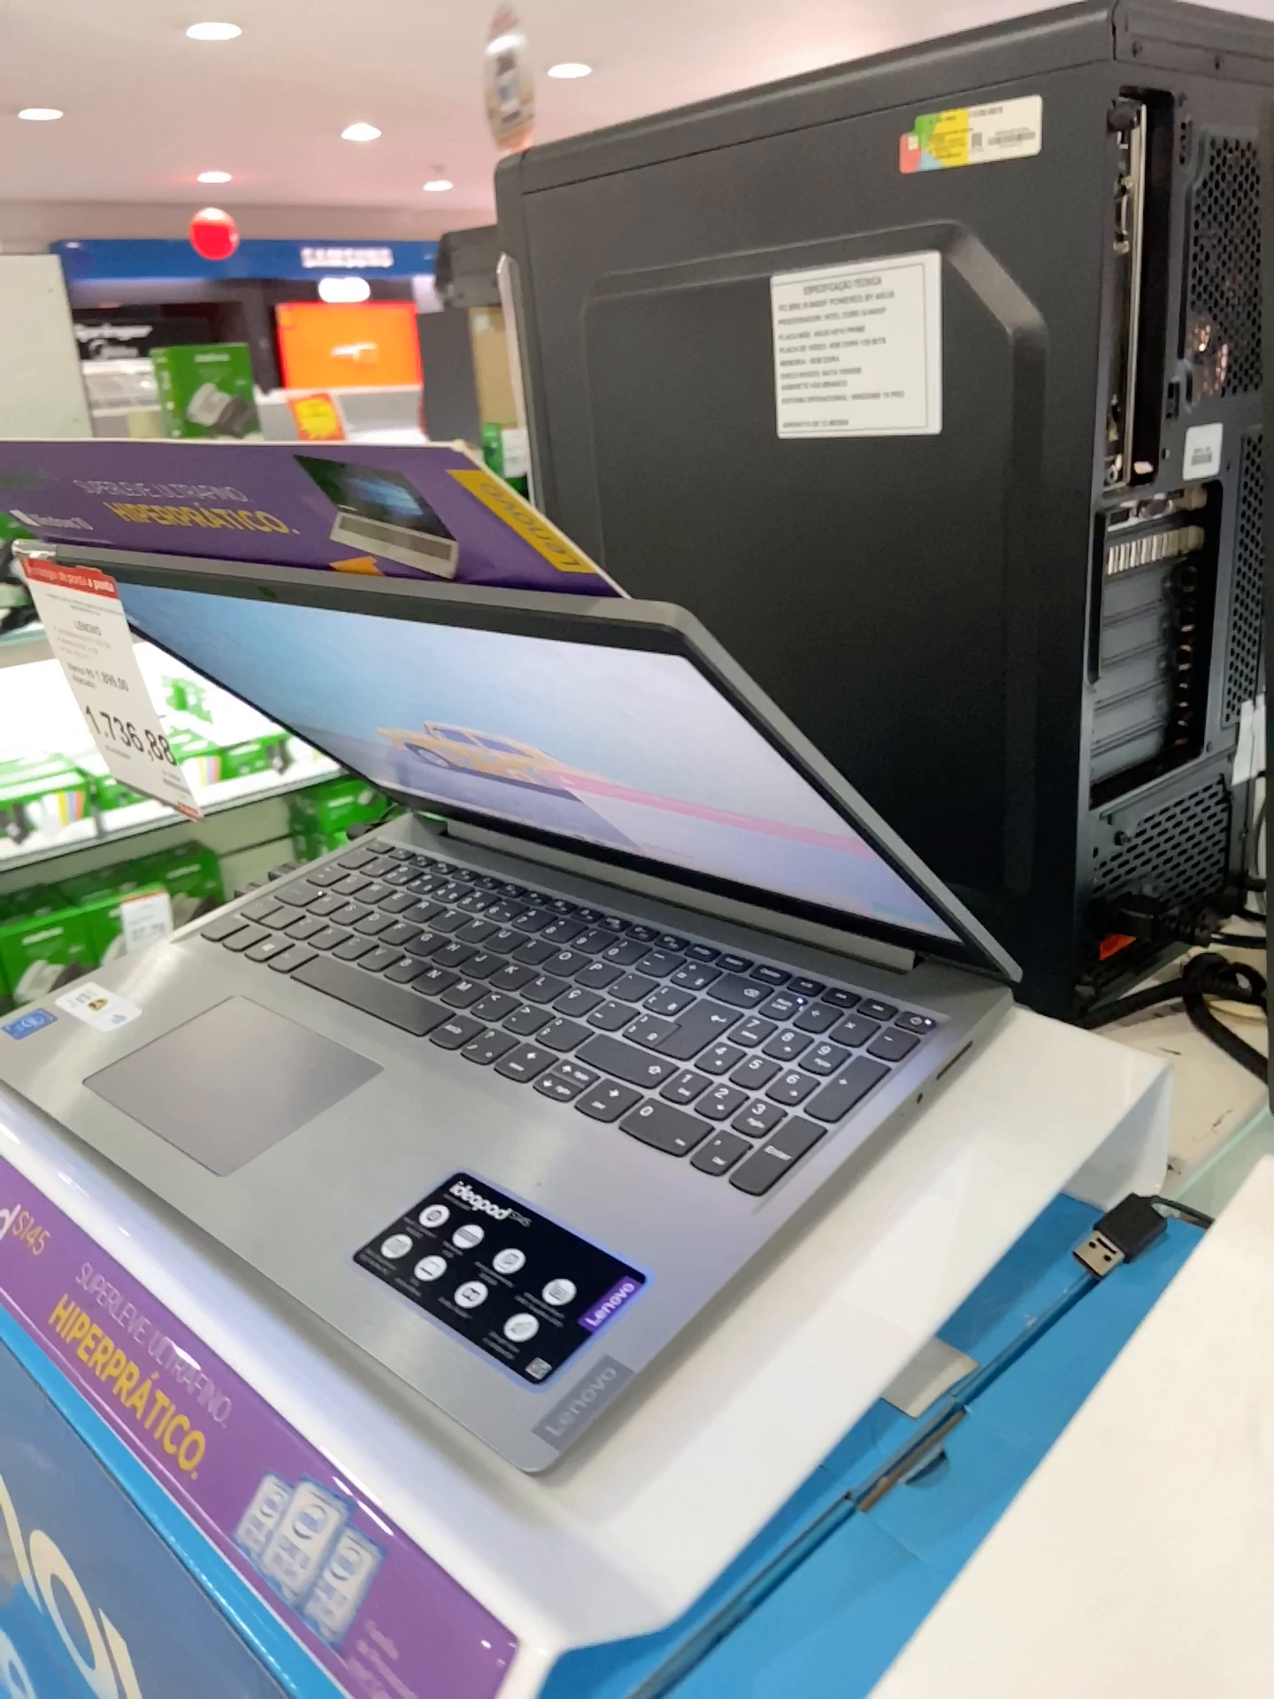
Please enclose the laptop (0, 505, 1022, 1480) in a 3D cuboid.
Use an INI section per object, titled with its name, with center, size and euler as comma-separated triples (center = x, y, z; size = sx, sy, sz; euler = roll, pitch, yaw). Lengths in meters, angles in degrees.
[laptop]
center = -0.081, -0.009, 0.489
size = 0.357, 0.161, 0.244
euler = 15, 33, 41
